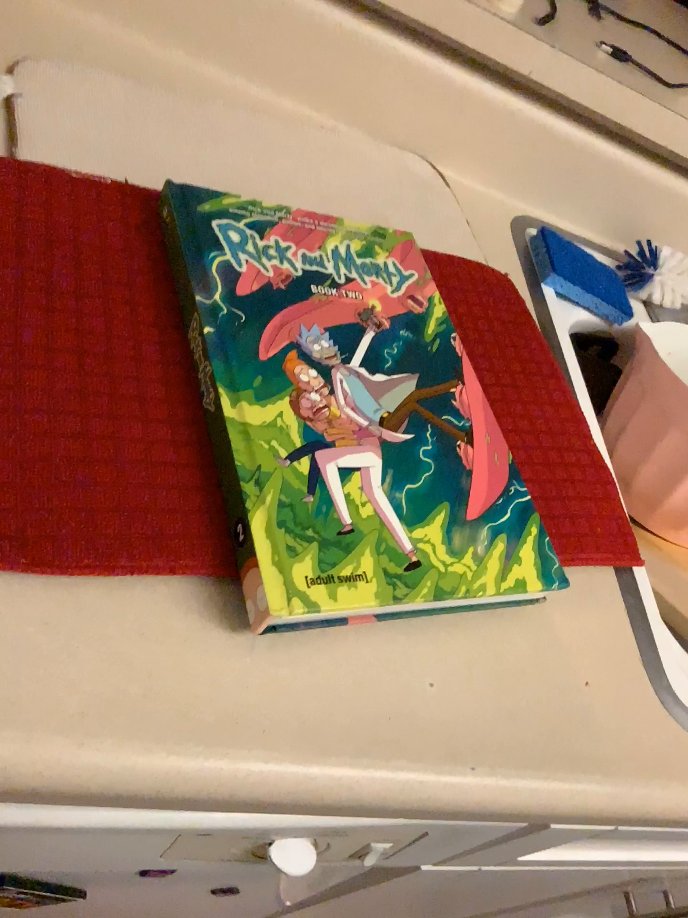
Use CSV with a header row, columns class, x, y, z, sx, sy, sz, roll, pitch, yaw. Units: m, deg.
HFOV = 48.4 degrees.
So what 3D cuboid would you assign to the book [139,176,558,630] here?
class,x,y,z,sx,sy,sz,roll,pitch,yaw
book,-0.005,-0.048,0.487,0.200,0.030,0.300,1,56,-32
